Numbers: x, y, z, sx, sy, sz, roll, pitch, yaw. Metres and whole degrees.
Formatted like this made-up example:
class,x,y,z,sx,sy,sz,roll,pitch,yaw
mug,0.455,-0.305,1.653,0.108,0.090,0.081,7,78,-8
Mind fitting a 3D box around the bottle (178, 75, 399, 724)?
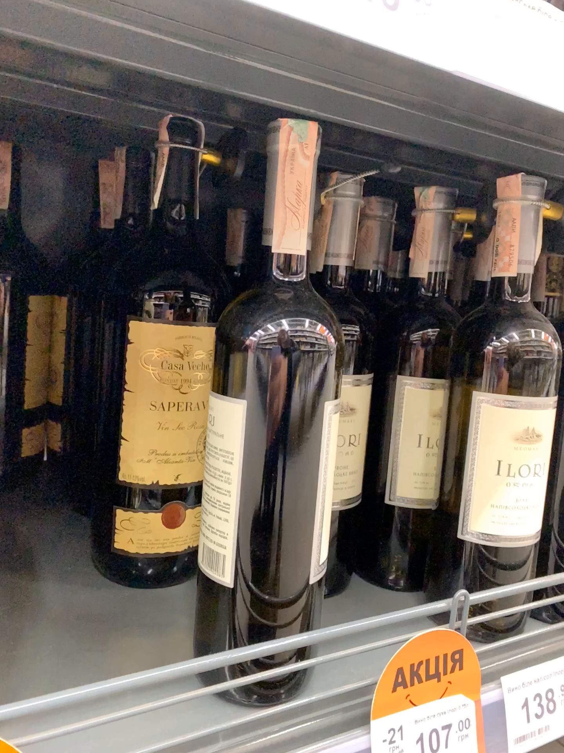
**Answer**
class,x,y,z,sx,sy,sz,roll,pitch,yaw
bottle,-0.004,0.018,0.327,0.069,0.319,0.070,6,8,-1
